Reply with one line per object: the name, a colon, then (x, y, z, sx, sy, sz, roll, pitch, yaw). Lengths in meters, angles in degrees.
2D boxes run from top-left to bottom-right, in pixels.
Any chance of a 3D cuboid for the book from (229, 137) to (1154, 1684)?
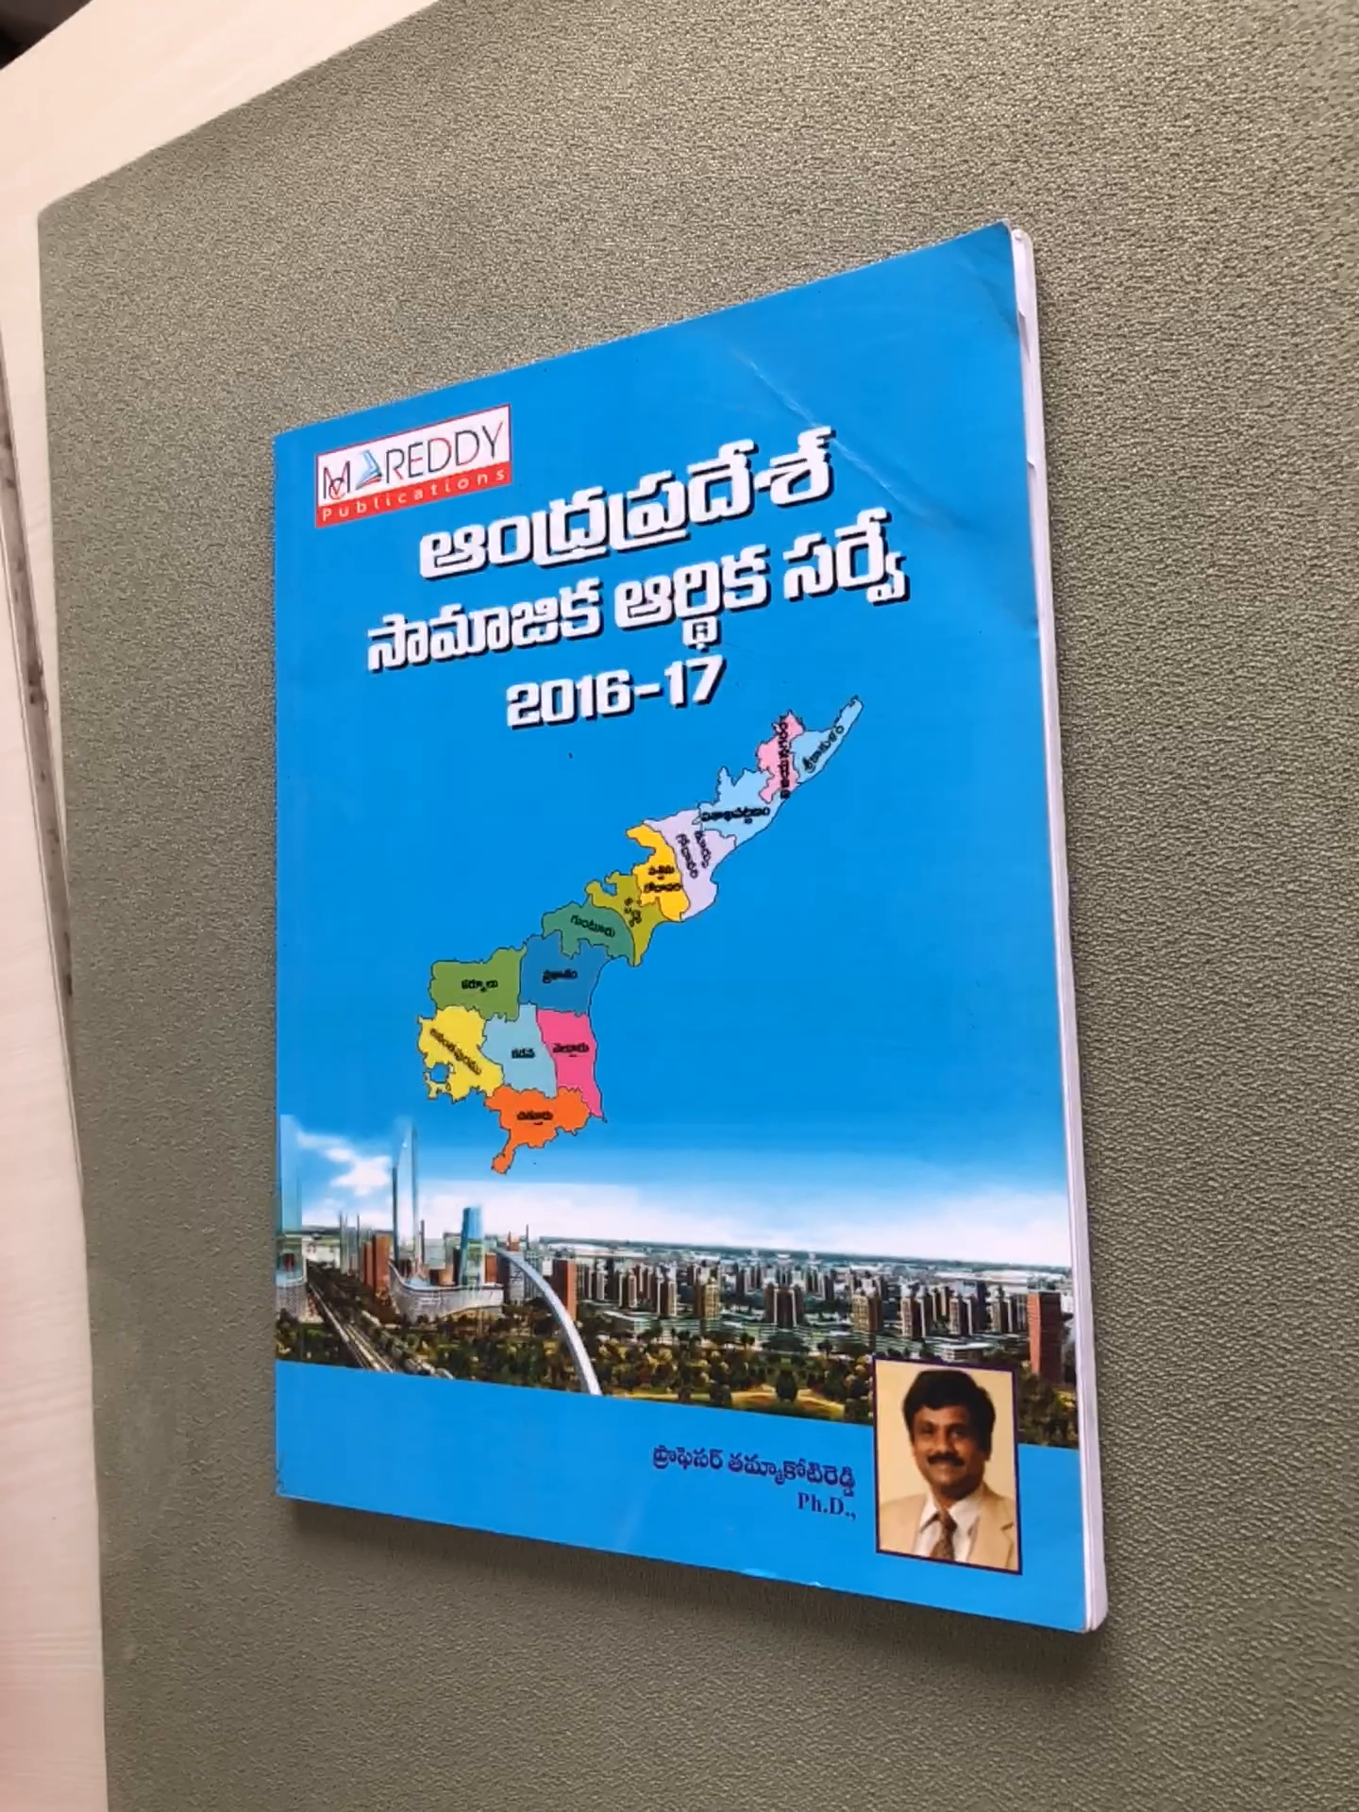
book: (-0.011, 0.002, 0.285, 0.180, 0.020, 0.240, -4, 84, 28)
